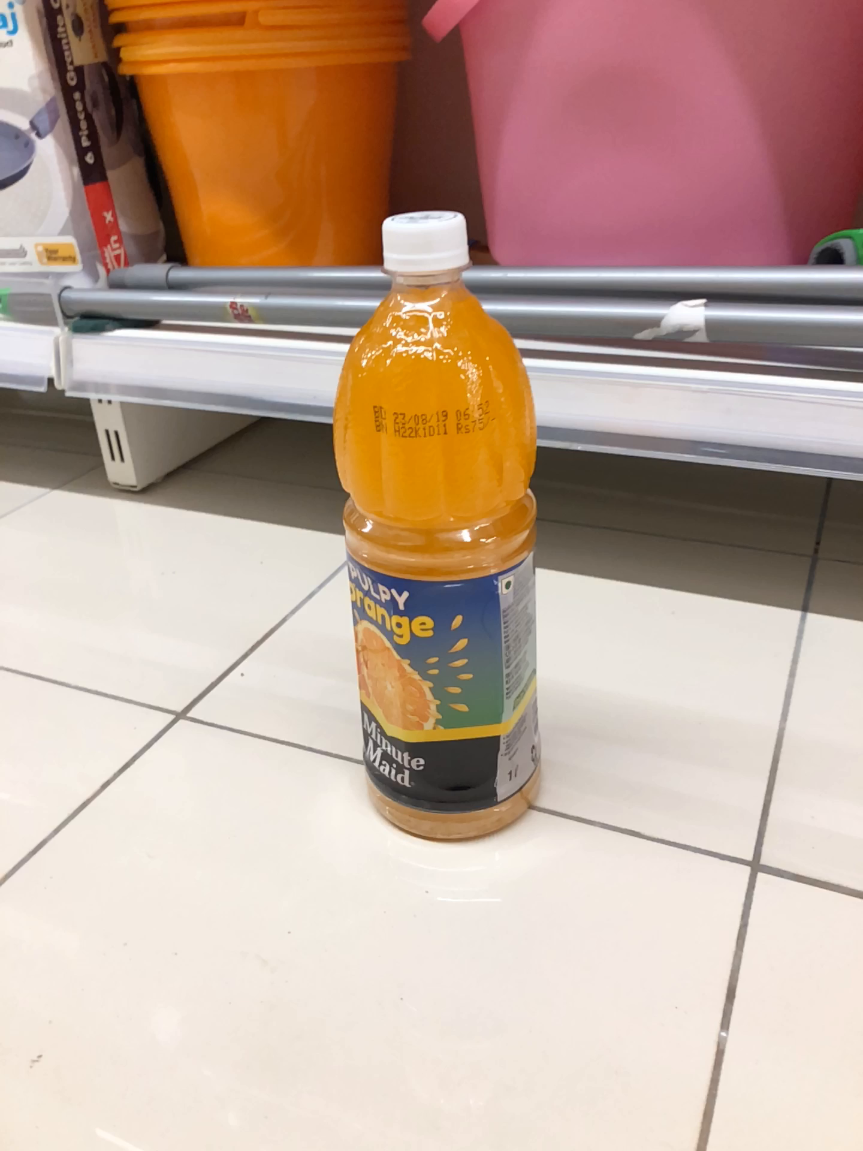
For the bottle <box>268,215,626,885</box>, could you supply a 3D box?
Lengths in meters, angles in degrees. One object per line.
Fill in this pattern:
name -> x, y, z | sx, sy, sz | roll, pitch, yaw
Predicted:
bottle -> 0.011, -0.011, 0.394 | 0.090, 0.245, 0.090 | -2, 27, 1
